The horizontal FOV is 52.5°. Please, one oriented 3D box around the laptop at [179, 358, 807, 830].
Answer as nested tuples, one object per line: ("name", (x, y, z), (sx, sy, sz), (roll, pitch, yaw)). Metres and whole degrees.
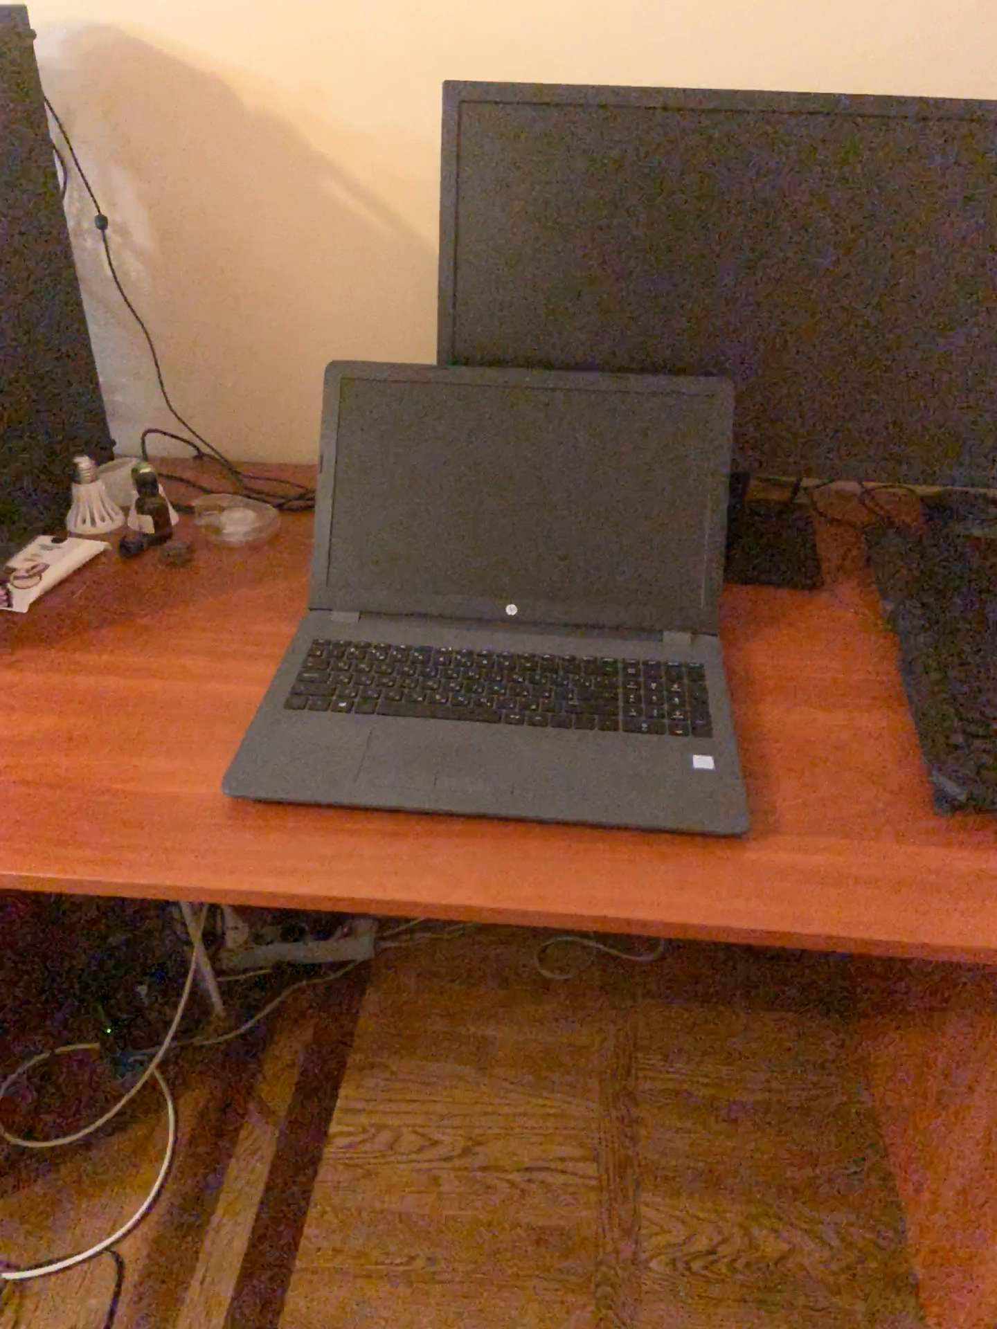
("laptop", (0.008, -0.085, 0.811), (0.372, 0.188, 0.394), (4, 33, 3))
